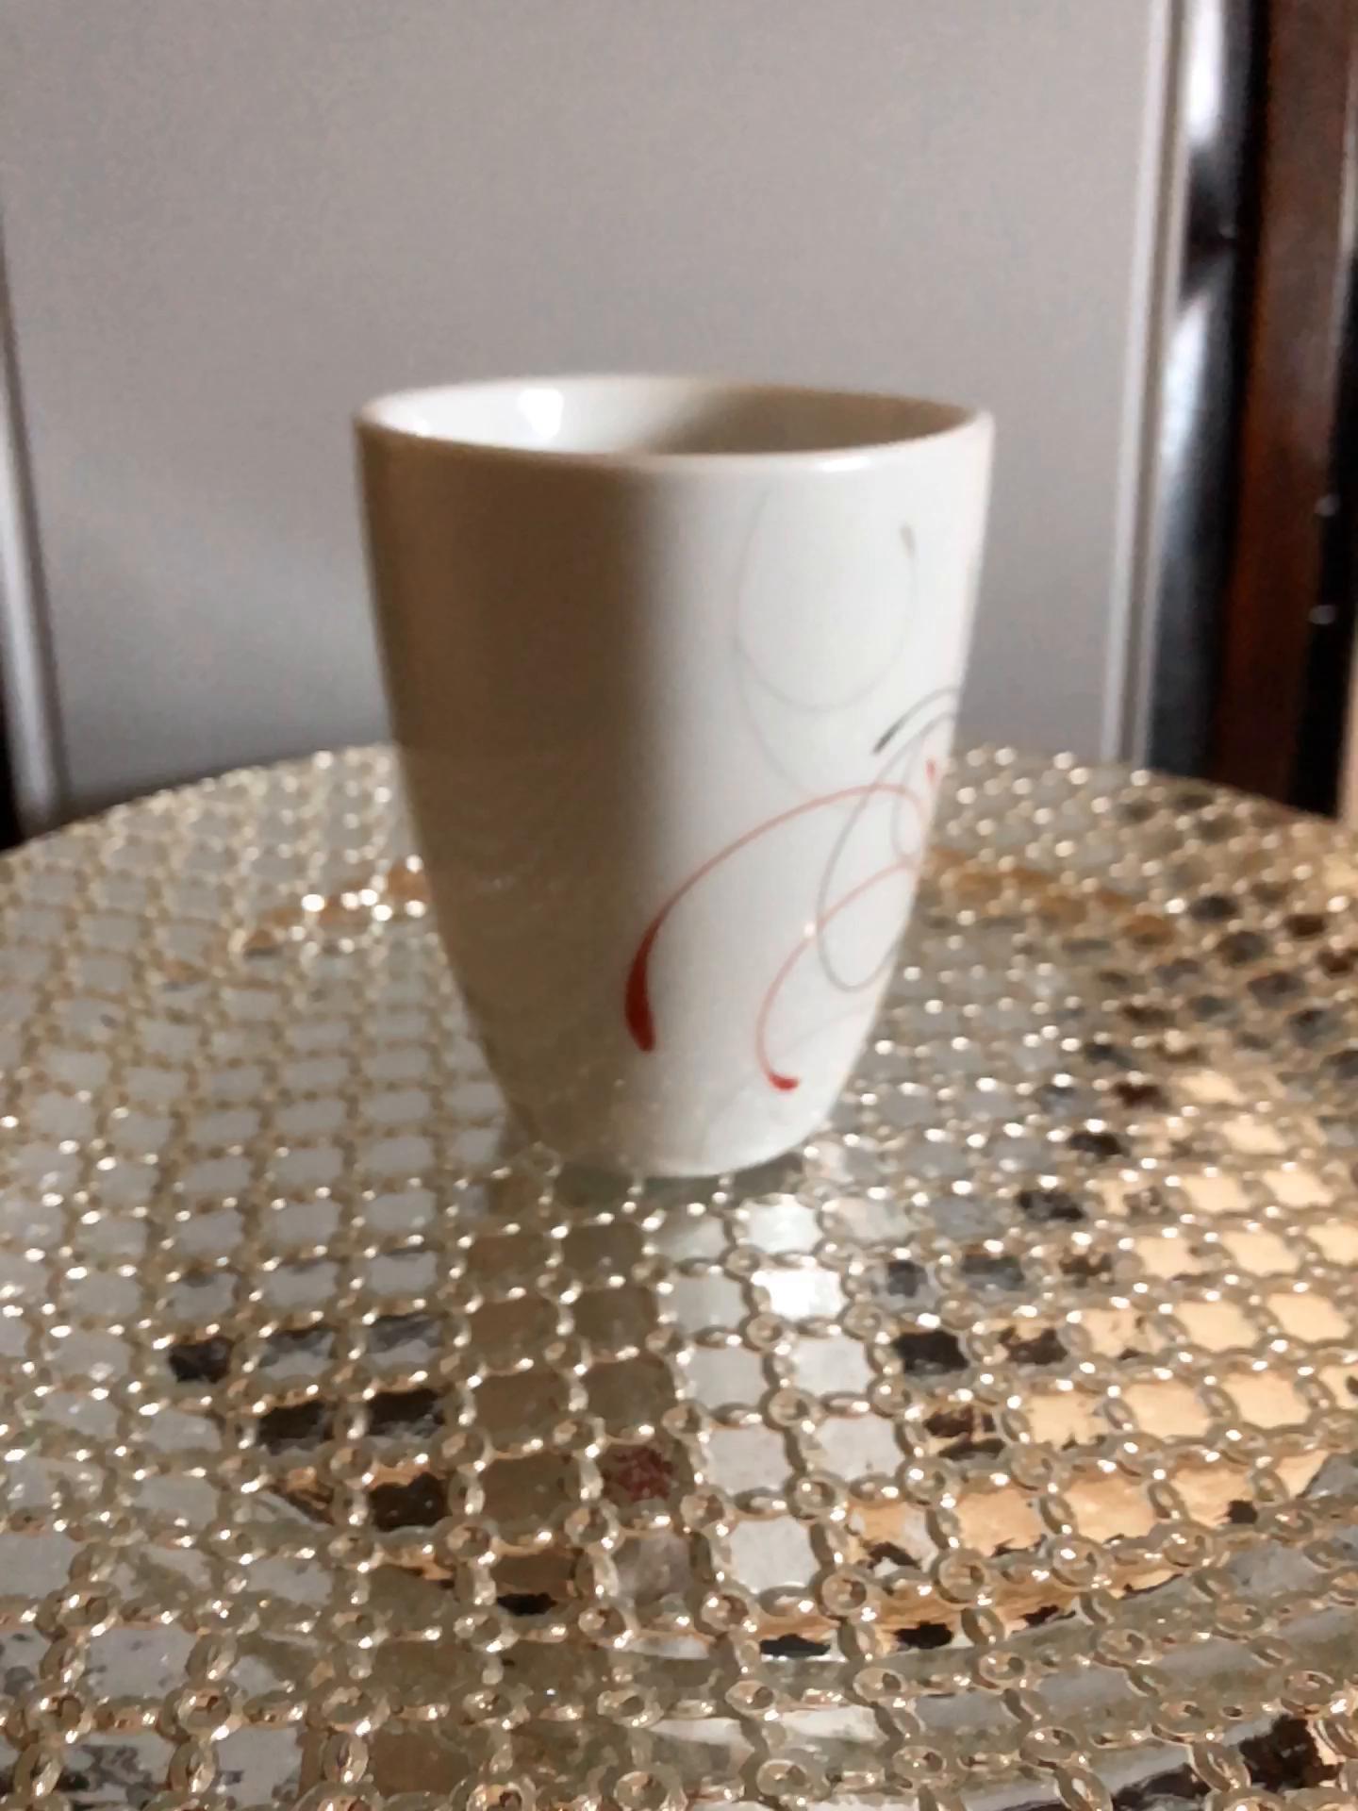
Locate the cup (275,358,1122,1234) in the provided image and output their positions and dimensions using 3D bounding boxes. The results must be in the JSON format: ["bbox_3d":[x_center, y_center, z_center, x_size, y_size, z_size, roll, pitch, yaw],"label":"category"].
[{"bbox_3d":[0.009,-0.030,0.249,0.080,0.100,0.110,15,27,28],"label":"cup"}]
